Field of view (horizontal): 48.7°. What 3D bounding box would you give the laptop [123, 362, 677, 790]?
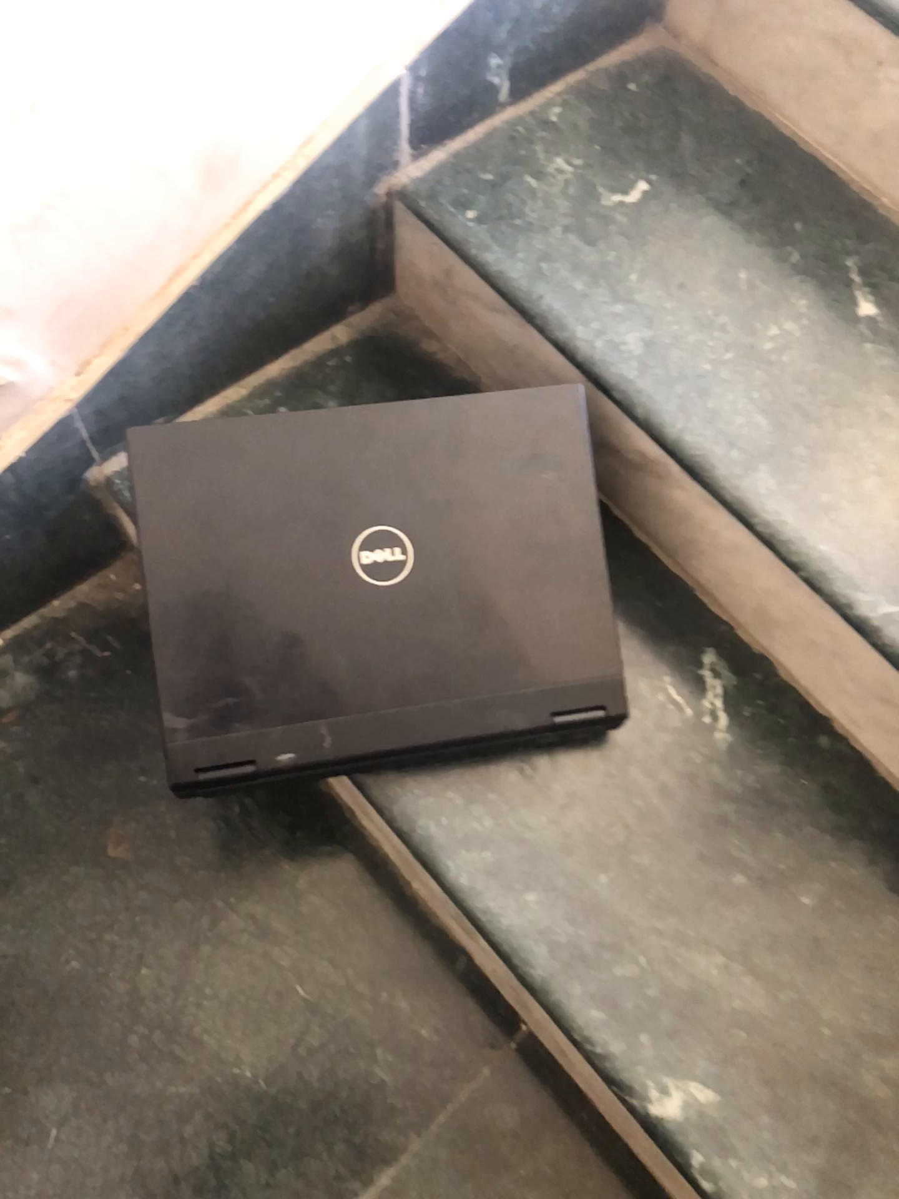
[{"bbox_3d":[-0.041,-0.022,0.655,0.302,0.095,0.233,-7,66,-10],"label":"laptop"}]
